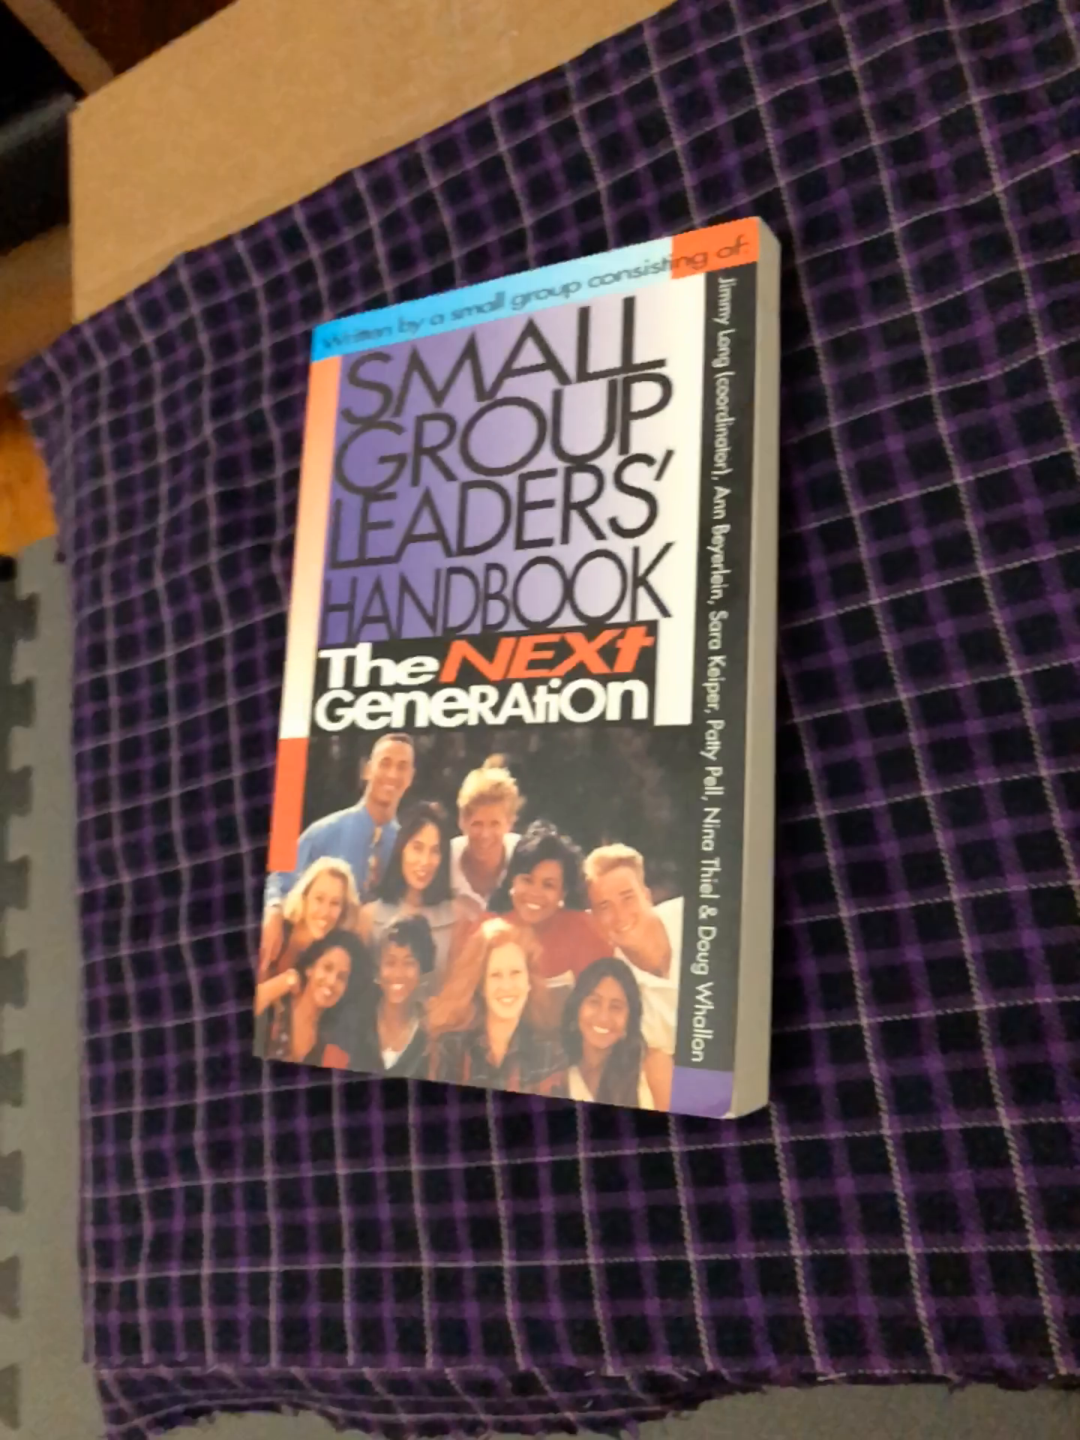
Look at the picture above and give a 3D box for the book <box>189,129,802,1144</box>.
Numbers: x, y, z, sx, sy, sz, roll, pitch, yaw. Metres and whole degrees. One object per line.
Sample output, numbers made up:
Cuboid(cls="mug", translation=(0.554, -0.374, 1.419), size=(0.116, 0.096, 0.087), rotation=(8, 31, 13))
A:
Cuboid(cls="book", translation=(-0.013, -0.020, 0.303), size=(0.150, 0.030, 0.220), rotation=(-3, 79, 29))
